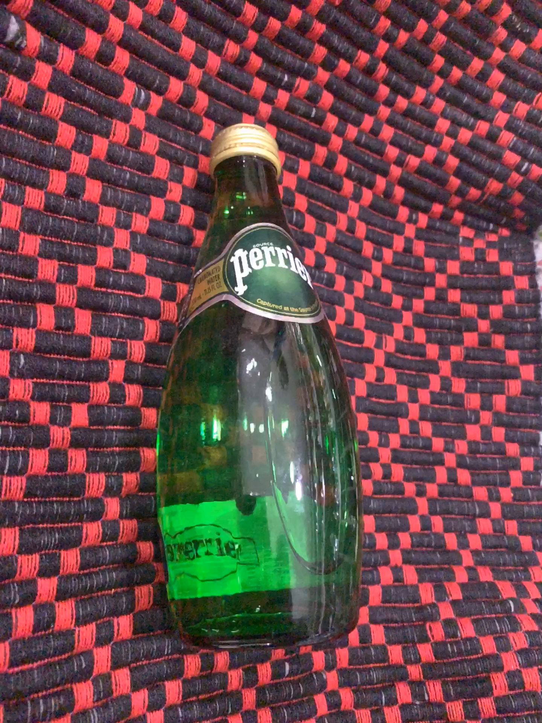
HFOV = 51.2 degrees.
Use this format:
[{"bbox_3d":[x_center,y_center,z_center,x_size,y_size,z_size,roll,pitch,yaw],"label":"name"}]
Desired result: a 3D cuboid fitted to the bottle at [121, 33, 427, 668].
[{"bbox_3d":[-0.006,-0.005,0.198,0.070,0.070,0.180,6,72,-25],"label":"bottle"}]
